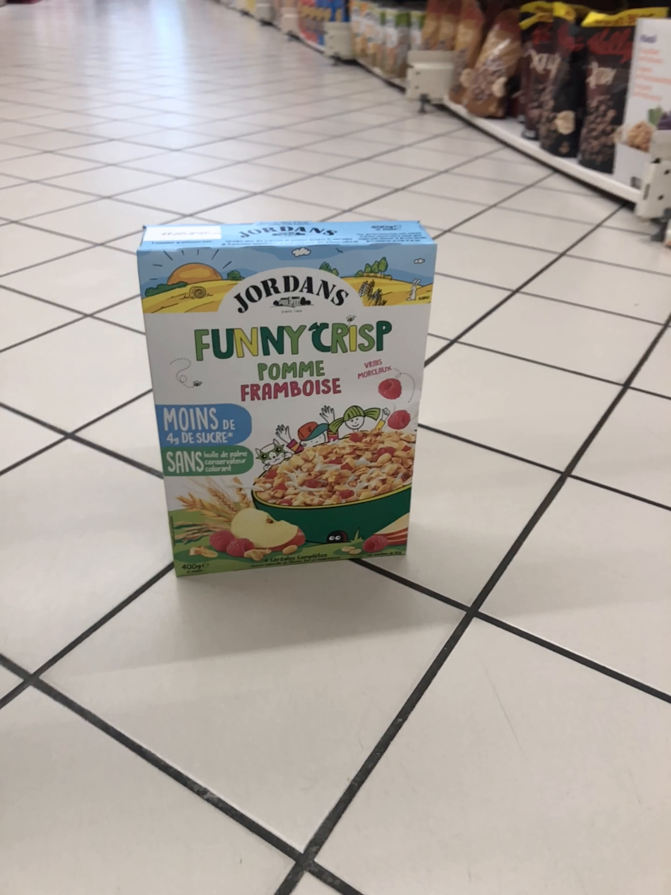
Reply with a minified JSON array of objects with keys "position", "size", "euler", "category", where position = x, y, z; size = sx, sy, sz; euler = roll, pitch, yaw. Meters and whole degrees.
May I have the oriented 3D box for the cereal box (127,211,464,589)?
[{"position":[-0.027,-0.027,0.483],"size":[0.180,0.229,0.070],"euler":[-4,32,-9],"category":"cereal box"}]
